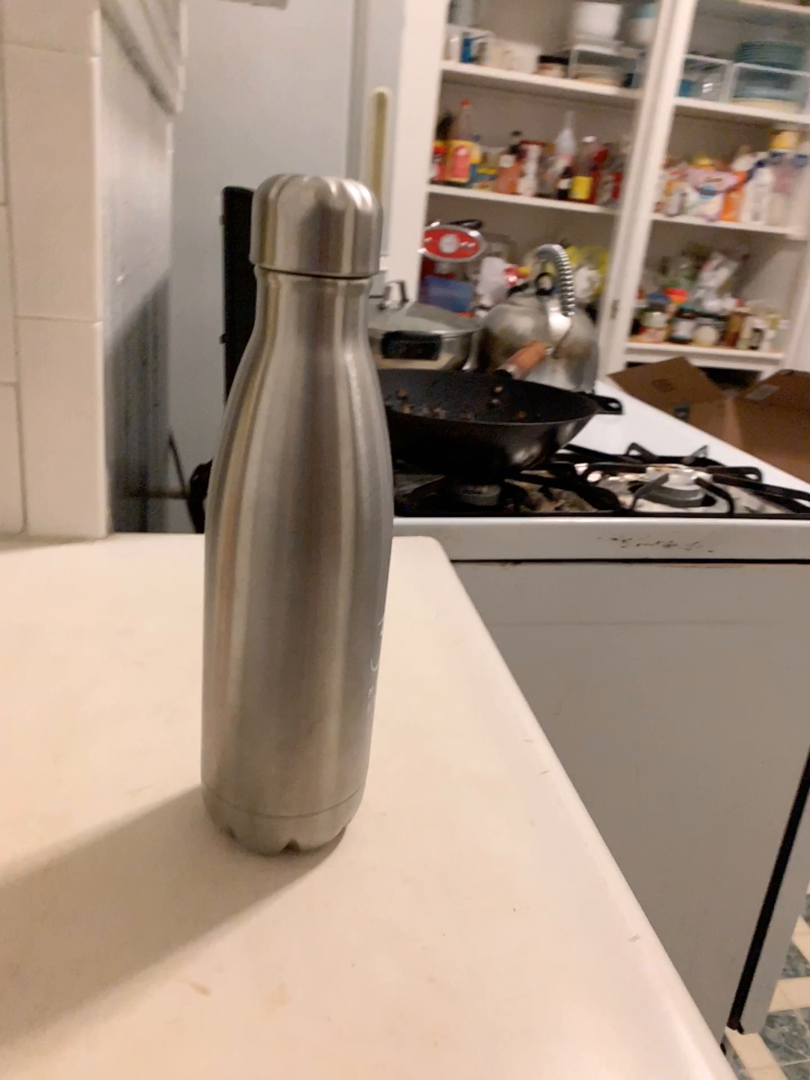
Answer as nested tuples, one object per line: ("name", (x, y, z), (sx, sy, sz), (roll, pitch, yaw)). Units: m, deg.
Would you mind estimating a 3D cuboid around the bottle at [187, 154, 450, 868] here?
("bottle", (-0.038, -0.002, 0.311), (0.070, 0.249, 0.070), (6, 21, -2))
